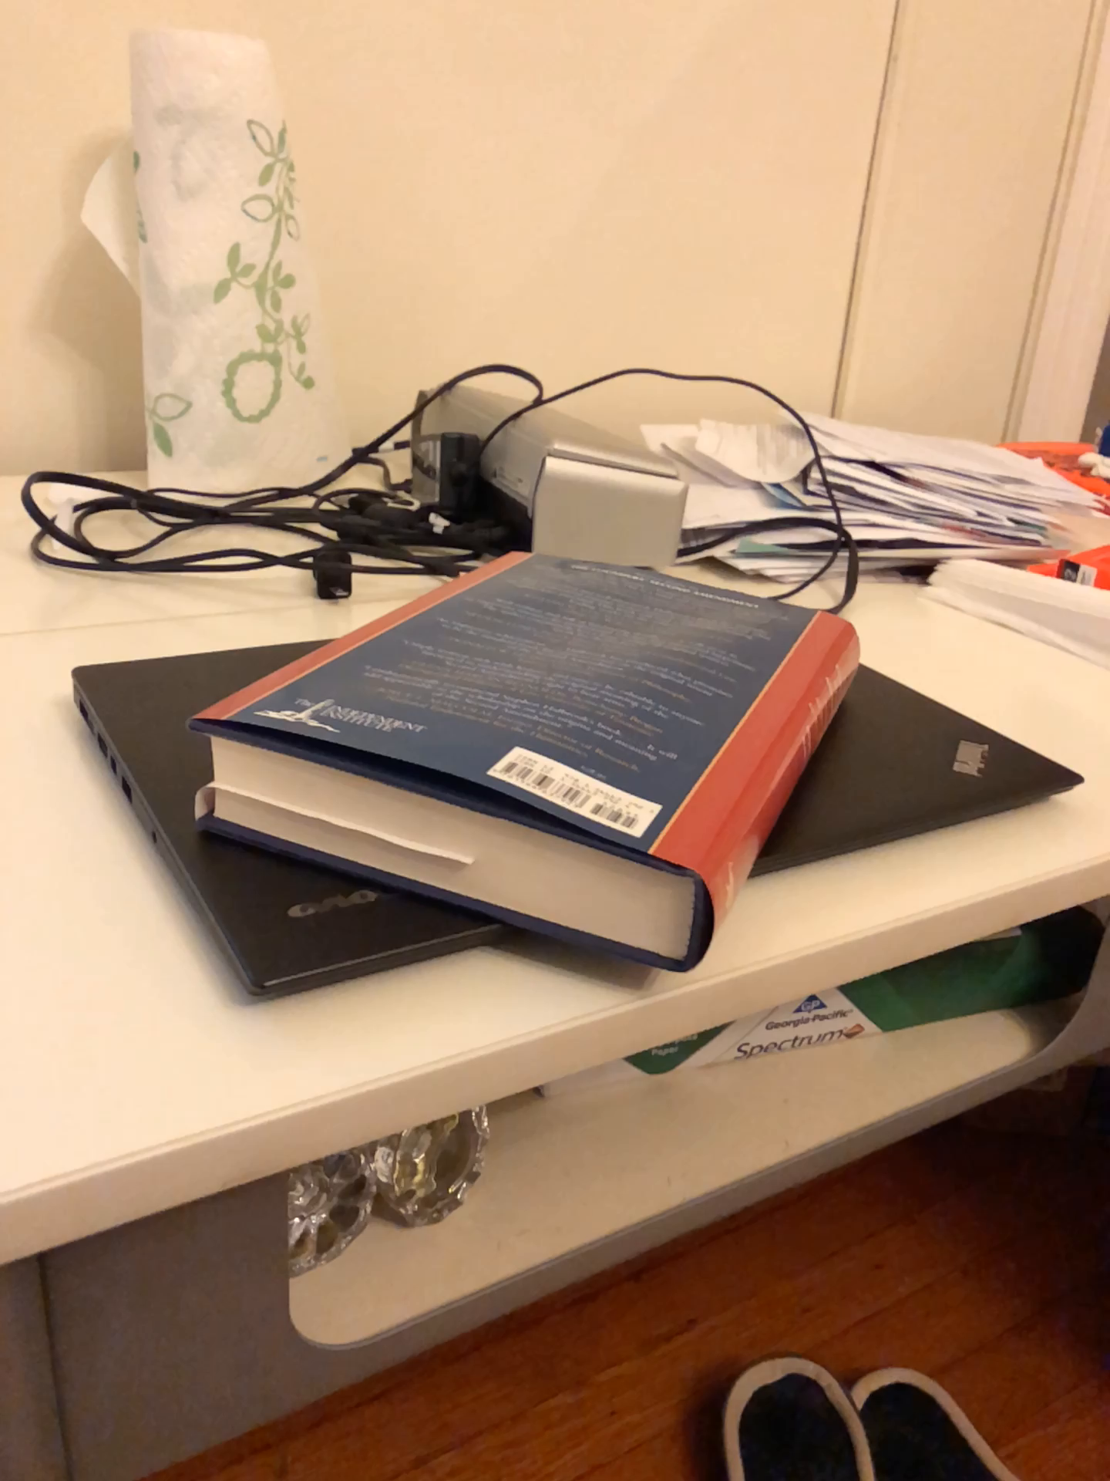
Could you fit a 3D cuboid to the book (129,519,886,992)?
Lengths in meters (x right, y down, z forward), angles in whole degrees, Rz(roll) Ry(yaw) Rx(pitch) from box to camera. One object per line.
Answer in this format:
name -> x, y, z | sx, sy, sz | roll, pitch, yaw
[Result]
book -> 0.006, -0.019, 0.418 | 0.170, 0.040, 0.241 | 12, 26, 19
